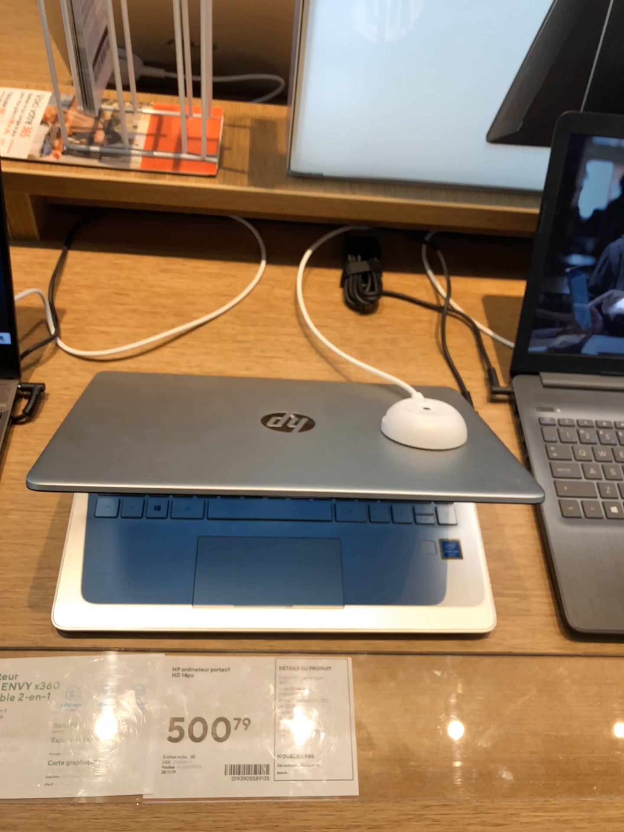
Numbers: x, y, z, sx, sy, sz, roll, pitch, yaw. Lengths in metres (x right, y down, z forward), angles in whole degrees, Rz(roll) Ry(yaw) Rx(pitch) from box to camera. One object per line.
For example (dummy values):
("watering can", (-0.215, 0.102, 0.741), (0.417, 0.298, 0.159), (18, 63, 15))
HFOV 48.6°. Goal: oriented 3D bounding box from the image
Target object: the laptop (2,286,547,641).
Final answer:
("laptop", (-0.024, 0.035, 0.502), (0.314, 0.110, 0.217), (2, 56, -6))
